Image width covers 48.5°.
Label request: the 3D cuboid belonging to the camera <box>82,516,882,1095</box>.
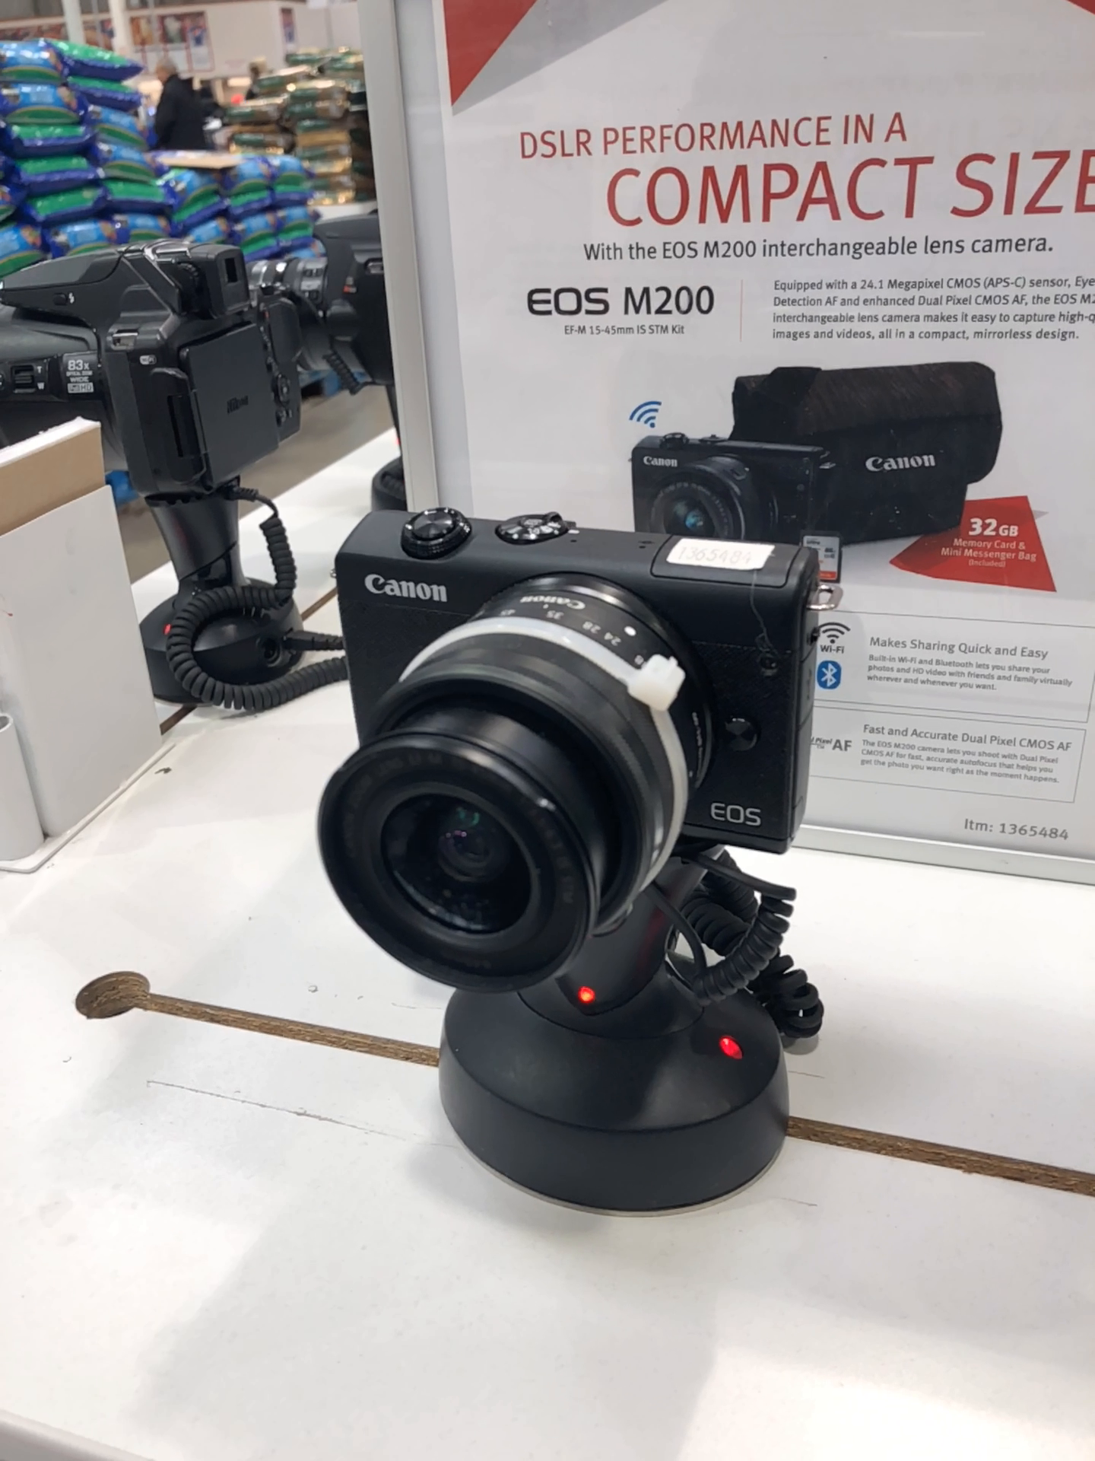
[{"bbox_3d":[-0.003,0.001,0.252,0.120,0.050,0.120,8,29,20],"label":"camera"}]
